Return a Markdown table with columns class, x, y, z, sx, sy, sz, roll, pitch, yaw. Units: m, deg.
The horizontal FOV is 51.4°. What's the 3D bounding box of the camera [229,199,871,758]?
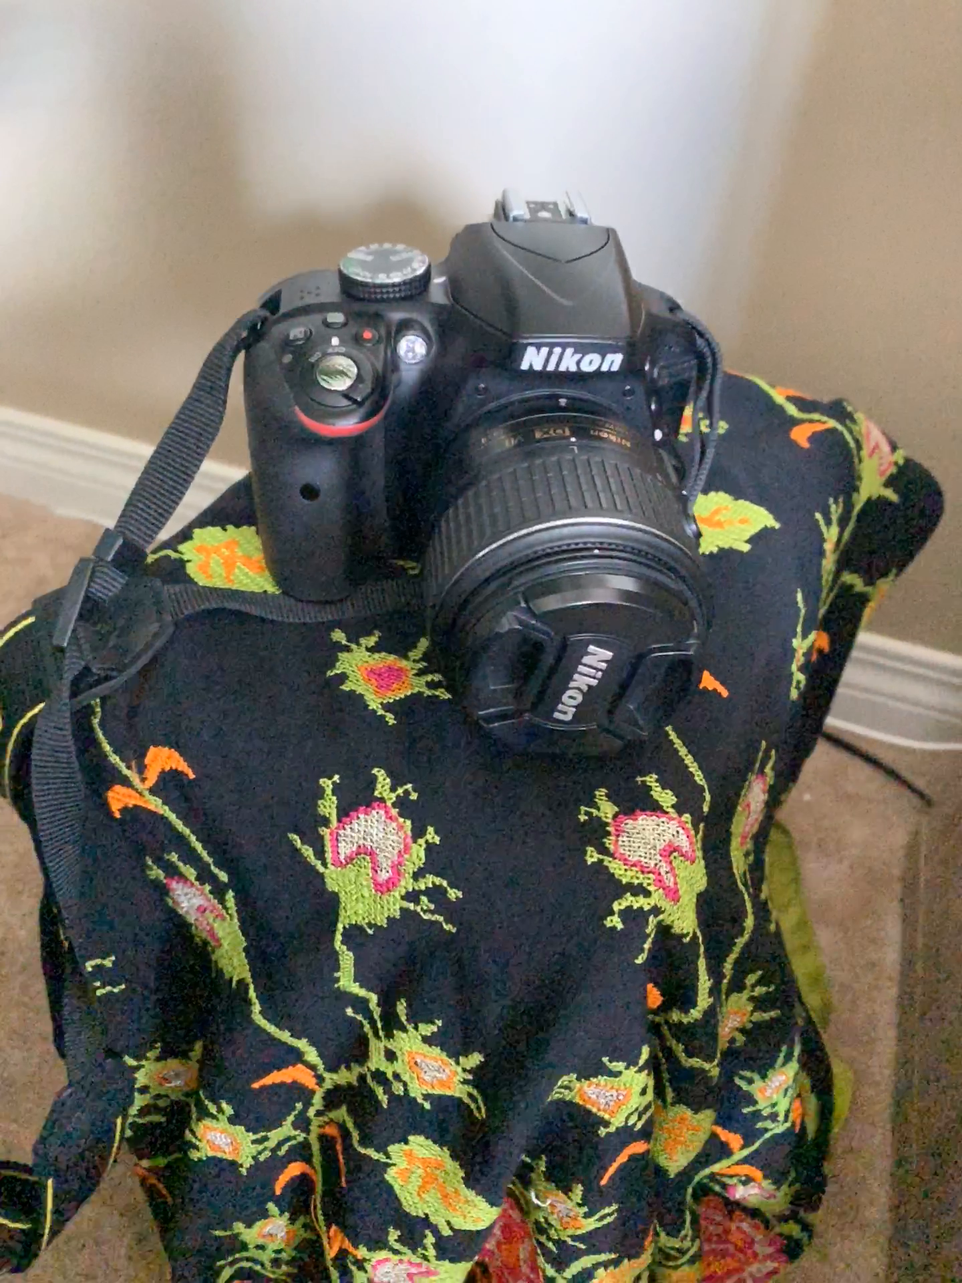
| class | x | y | z | sx | sy | sz | roll | pitch | yaw |
| --- | --- | --- | --- | --- | --- | --- | --- | --- | --- |
| camera | 0.006 | -0.042 | 0.249 | 0.120 | 0.099 | 0.091 | -3 | 43 | -8 |
